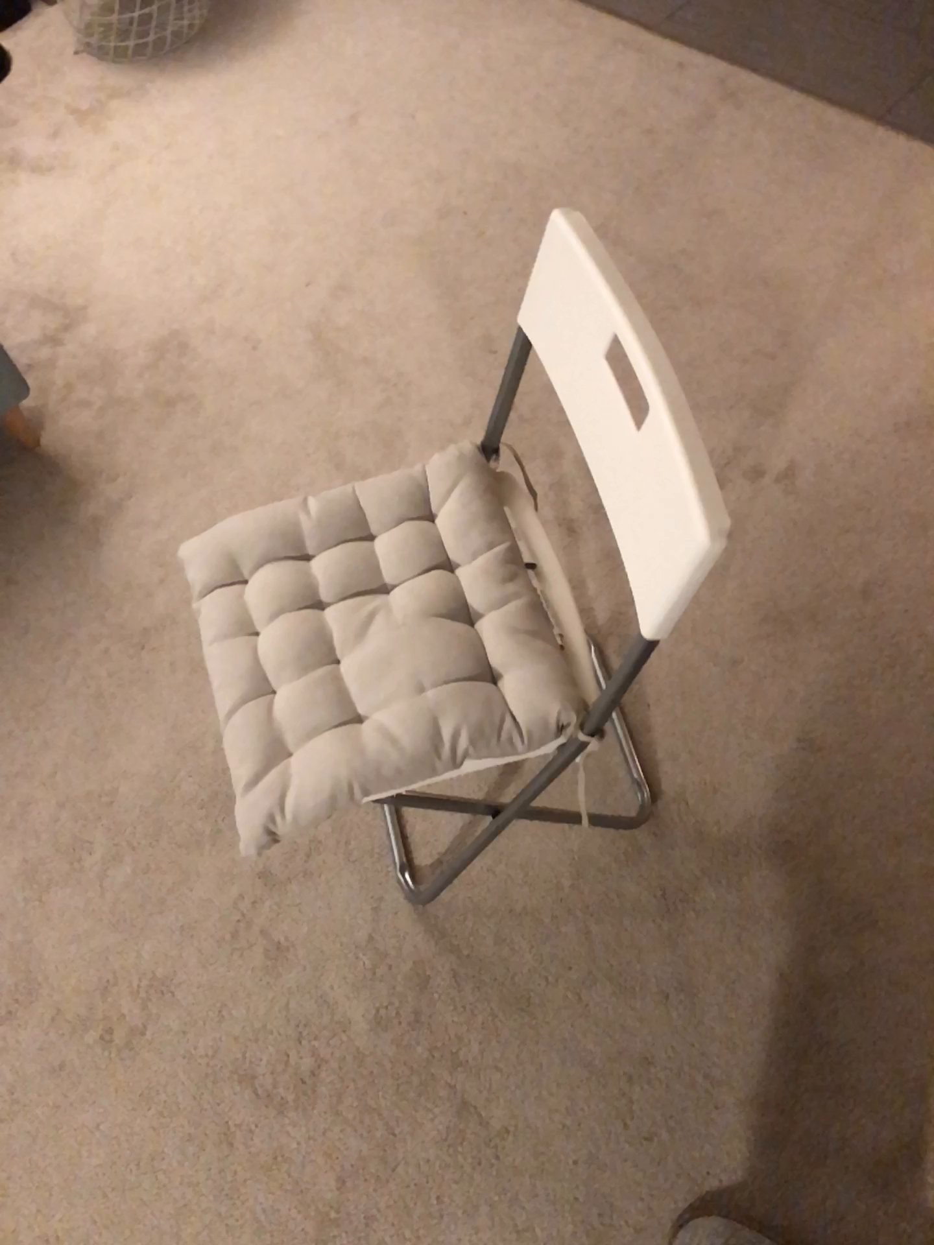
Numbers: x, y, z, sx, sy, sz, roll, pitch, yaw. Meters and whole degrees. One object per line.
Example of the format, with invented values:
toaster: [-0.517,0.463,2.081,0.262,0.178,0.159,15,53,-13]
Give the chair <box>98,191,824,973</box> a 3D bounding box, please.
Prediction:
chair: [-0.008,0.008,1.199,0.540,0.668,0.512,-17,59,-2]
